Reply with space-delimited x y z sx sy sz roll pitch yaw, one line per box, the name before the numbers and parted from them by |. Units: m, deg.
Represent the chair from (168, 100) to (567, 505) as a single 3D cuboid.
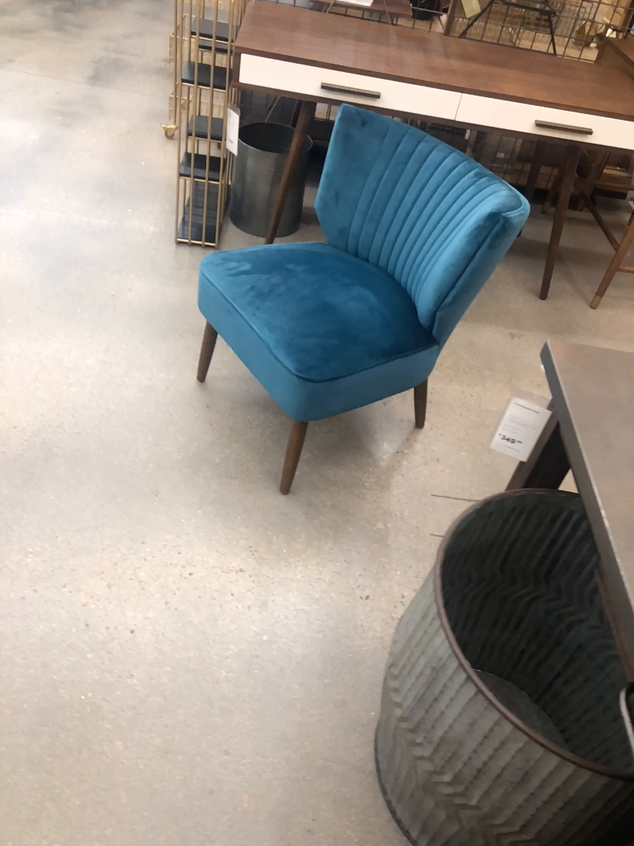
chair | 0.059 -0.350 1.806 0.662 0.677 0.662 -19 50 -29
